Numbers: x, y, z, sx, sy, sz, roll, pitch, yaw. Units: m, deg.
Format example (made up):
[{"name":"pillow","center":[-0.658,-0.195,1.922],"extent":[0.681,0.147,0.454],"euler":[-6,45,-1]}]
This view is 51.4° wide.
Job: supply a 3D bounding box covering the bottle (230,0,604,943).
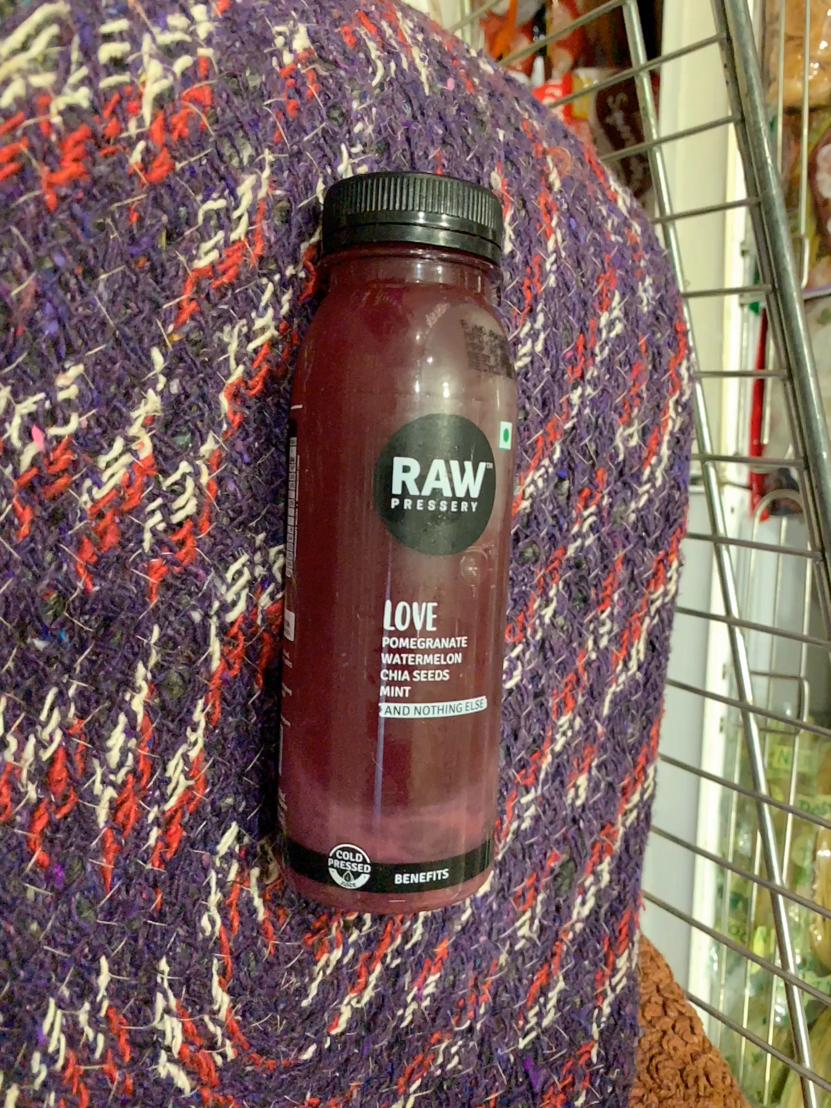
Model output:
[{"name":"bottle","center":[-0.005,-0.016,0.190],"extent":[0.060,0.060,0.170],"euler":[0,95,-22]}]
